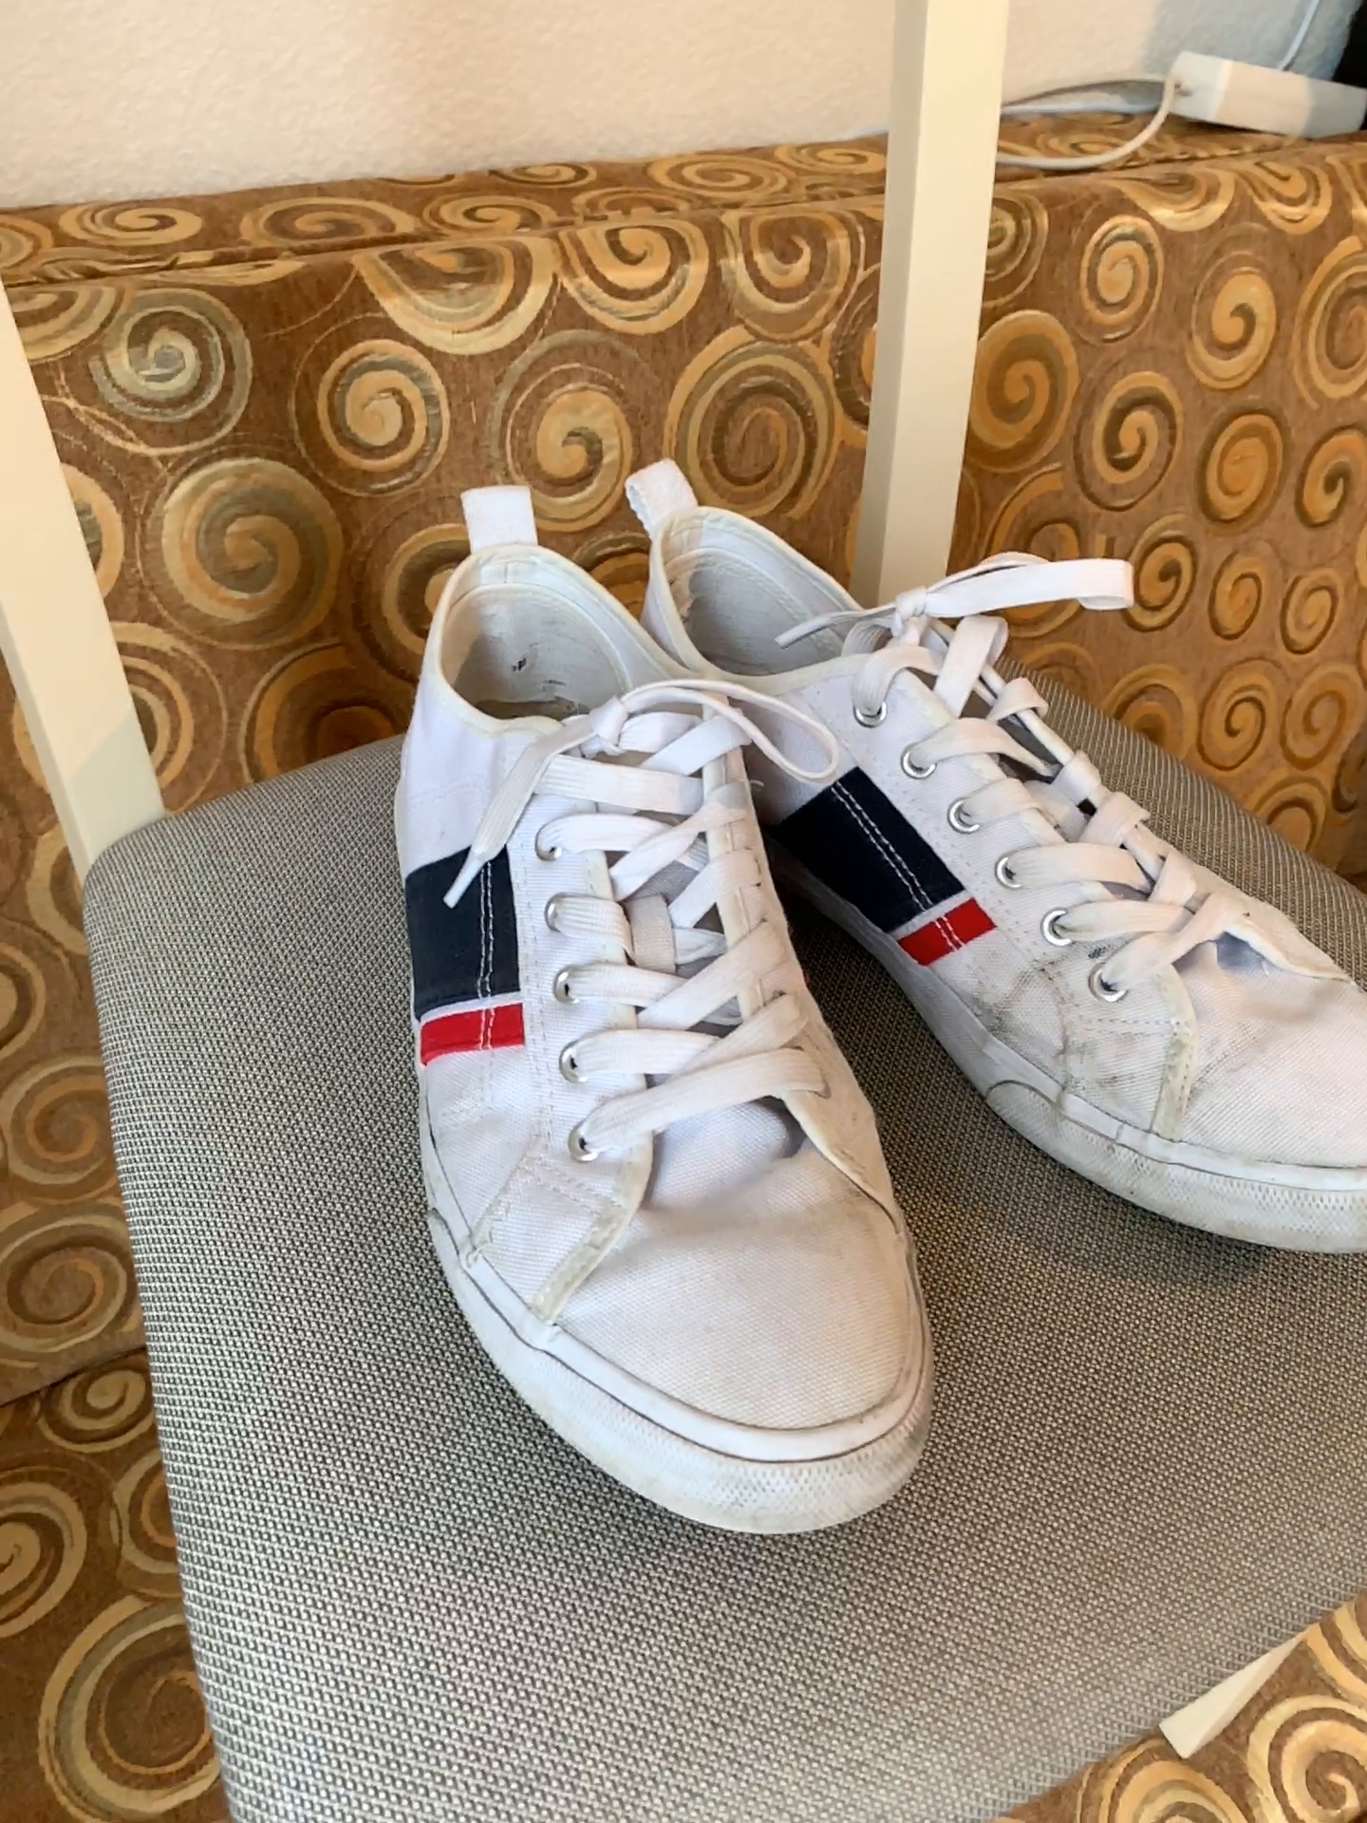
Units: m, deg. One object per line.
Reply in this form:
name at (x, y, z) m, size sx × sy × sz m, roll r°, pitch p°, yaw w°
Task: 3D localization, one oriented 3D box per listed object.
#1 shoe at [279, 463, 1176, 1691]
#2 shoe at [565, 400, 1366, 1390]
shoe at (-0.018, 0.008, 0.340) m, size 0.120 × 0.090 × 0.281 m, roll -8°, pitch 48°, yaw -14°
shoe at (0.097, -0.025, 0.378) m, size 0.110 × 0.090 × 0.271 m, roll -31°, pitch 57°, yaw -30°
